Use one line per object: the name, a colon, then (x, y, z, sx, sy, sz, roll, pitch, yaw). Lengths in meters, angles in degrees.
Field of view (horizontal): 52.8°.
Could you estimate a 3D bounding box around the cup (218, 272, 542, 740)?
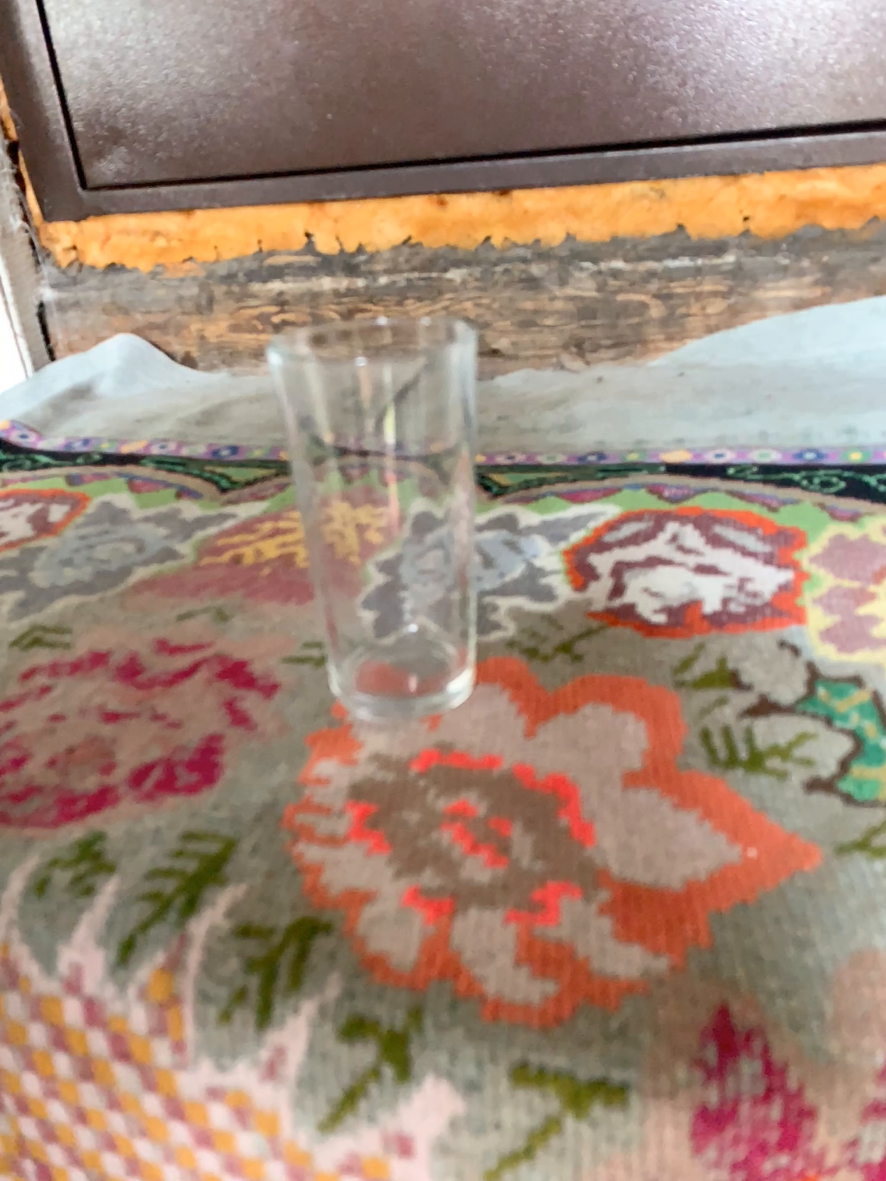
cup: (-0.014, -0.029, 0.271, 0.060, 0.119, 0.060, -4, 26, 2)
